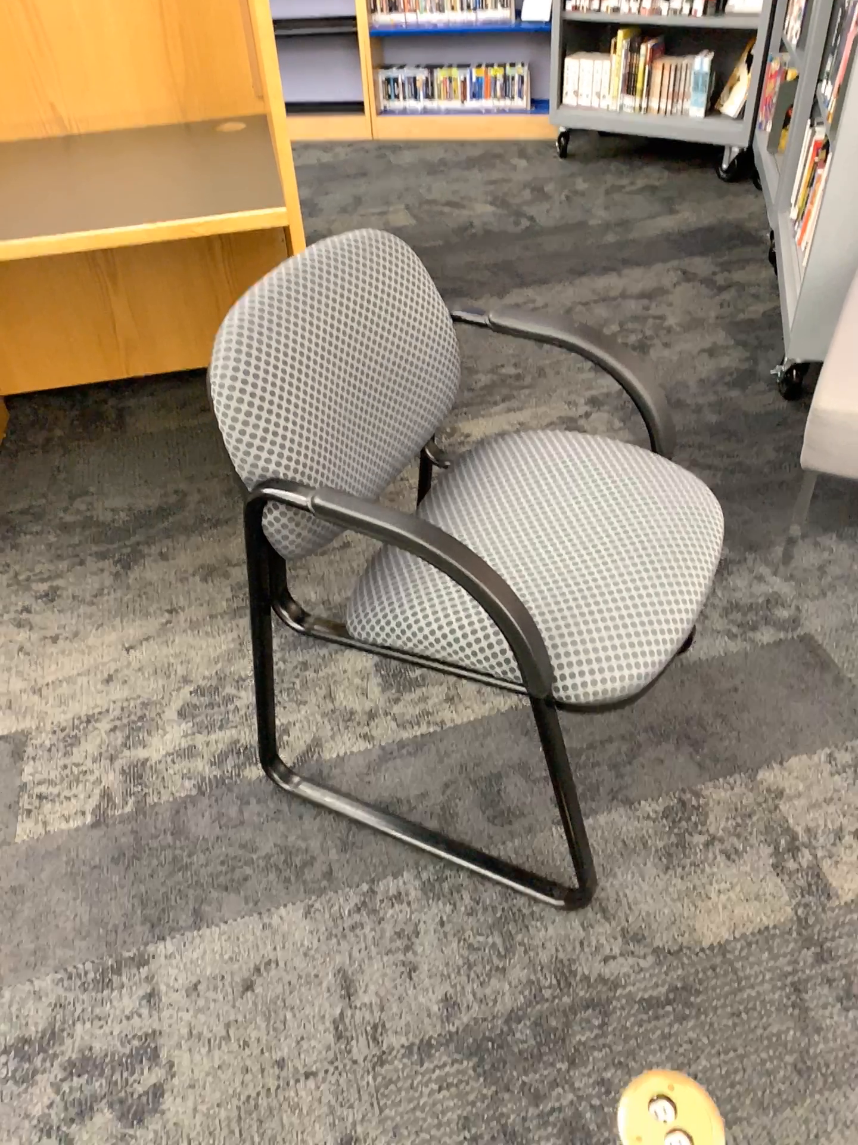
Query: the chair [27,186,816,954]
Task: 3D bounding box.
[{"bbox_3d":[0.058,-0.072,1.298,0.721,0.677,0.732,16,45,22],"label":"chair"}]
